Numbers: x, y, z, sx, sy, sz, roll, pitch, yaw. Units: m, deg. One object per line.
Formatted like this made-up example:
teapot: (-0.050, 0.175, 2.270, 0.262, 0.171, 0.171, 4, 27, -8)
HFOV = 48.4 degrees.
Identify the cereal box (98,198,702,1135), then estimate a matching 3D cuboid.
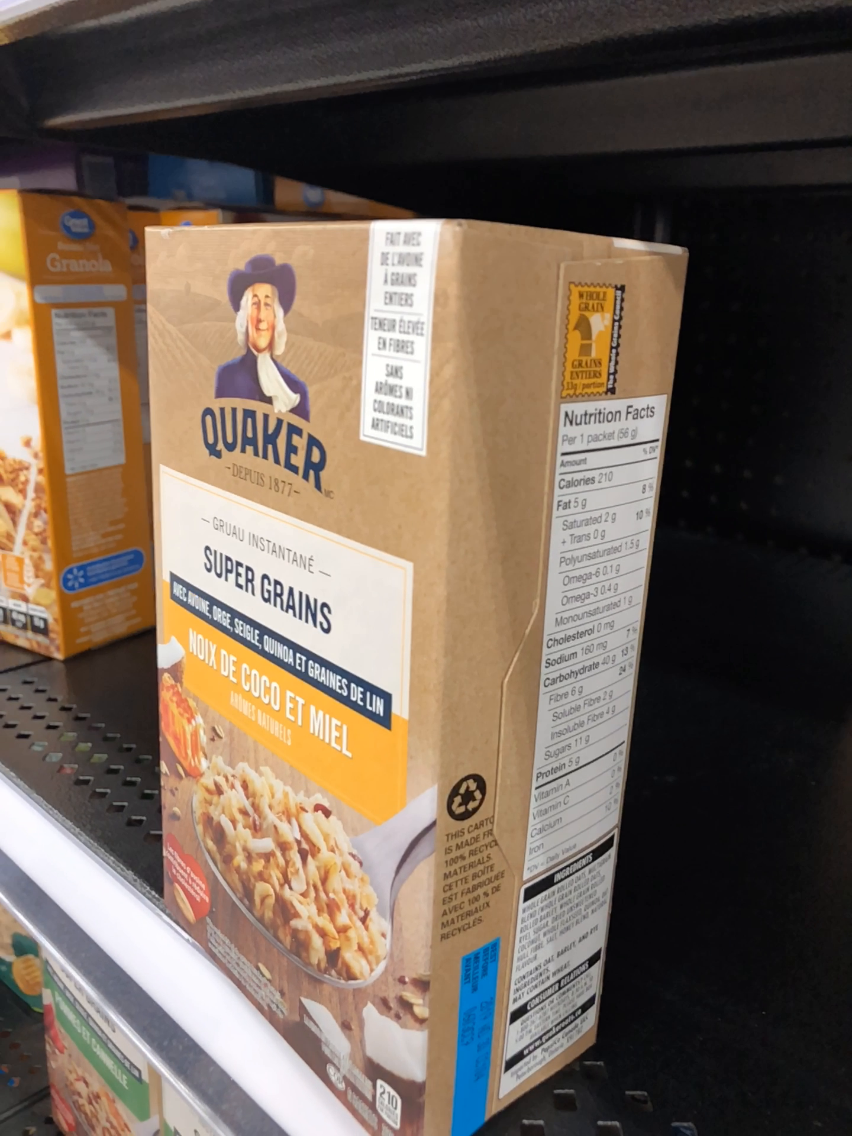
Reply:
cereal box: (-0.016, 0.019, 0.234, 0.060, 0.199, 0.130, -14, 23, -40)
